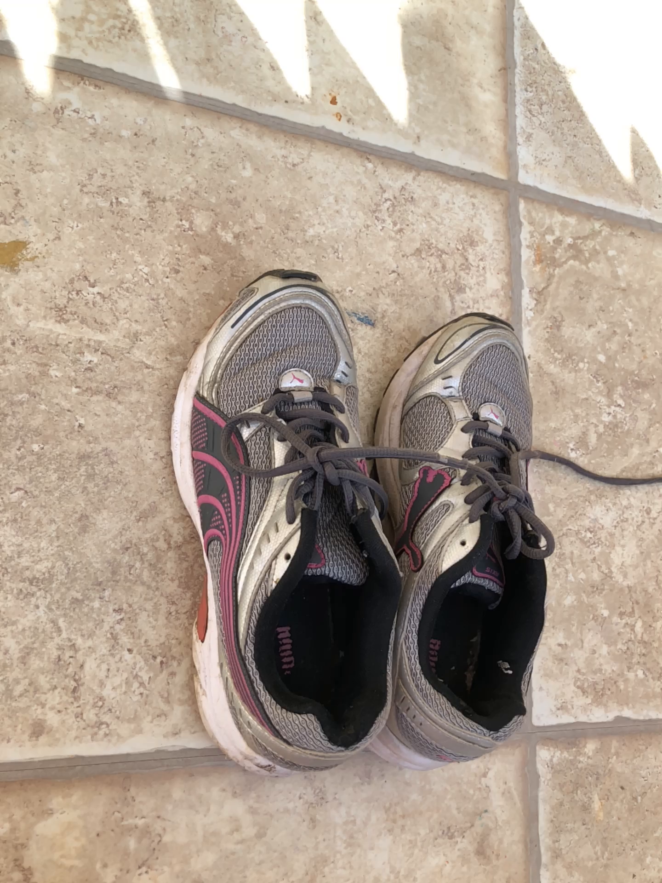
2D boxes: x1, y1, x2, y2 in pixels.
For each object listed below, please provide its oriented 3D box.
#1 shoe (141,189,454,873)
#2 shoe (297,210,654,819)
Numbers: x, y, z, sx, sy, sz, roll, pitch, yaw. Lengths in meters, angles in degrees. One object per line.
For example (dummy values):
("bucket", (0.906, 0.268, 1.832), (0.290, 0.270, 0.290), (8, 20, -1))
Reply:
("shoe", (-0.029, 0.038, 0.375), (0.110, 0.140, 0.270), (3, 79, -22))
("shoe", (0.078, 0.040, 0.409), (0.110, 0.140, 0.270), (15, 75, -19))
